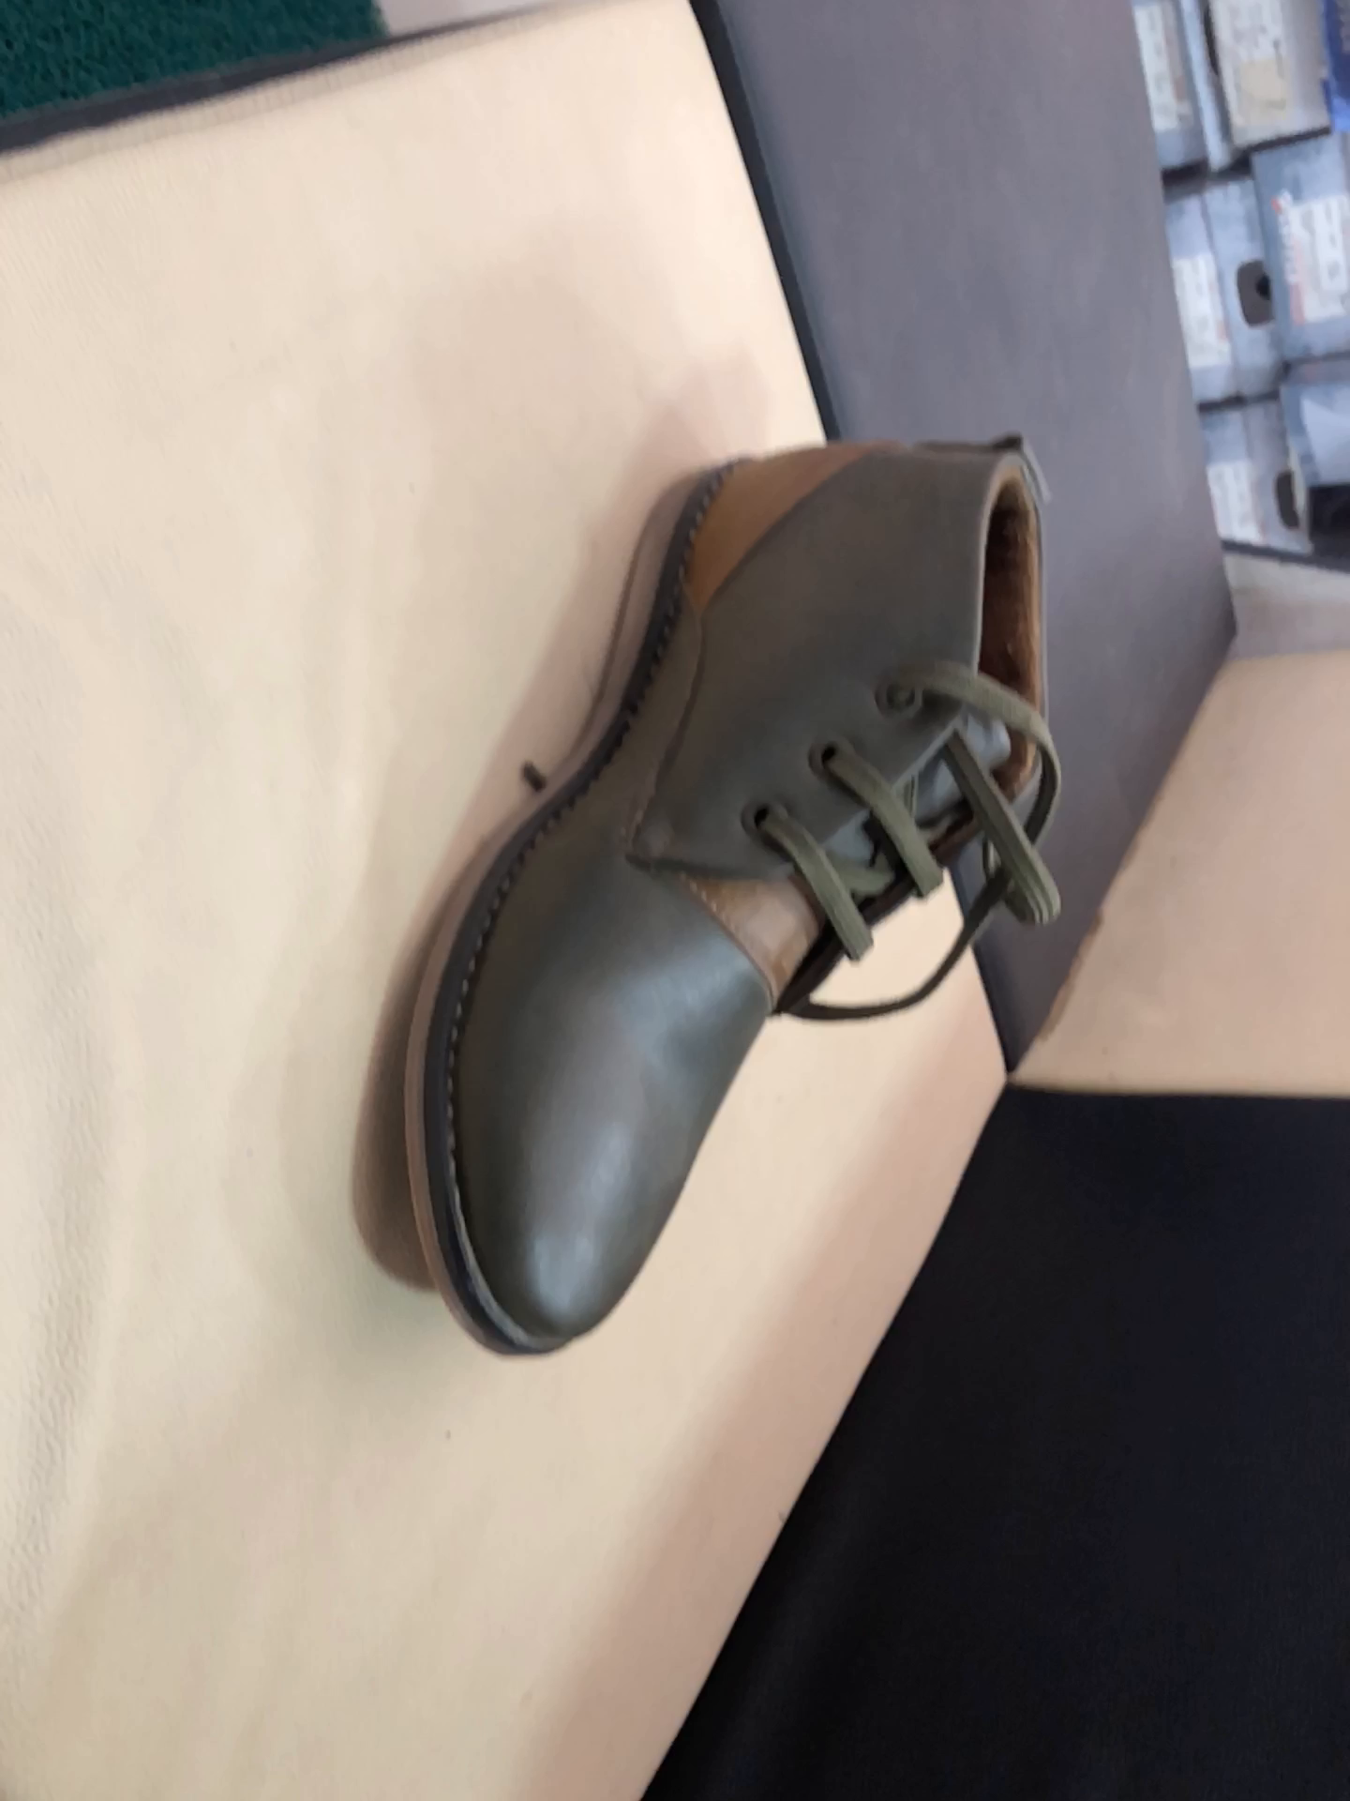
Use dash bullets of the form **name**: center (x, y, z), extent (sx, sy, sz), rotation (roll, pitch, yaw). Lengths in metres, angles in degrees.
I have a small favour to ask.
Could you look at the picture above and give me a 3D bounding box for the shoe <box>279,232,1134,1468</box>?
- **shoe**: center (0.026, -0.026, 0.363), extent (0.081, 0.099, 0.280), rotation (49, 51, -43)
